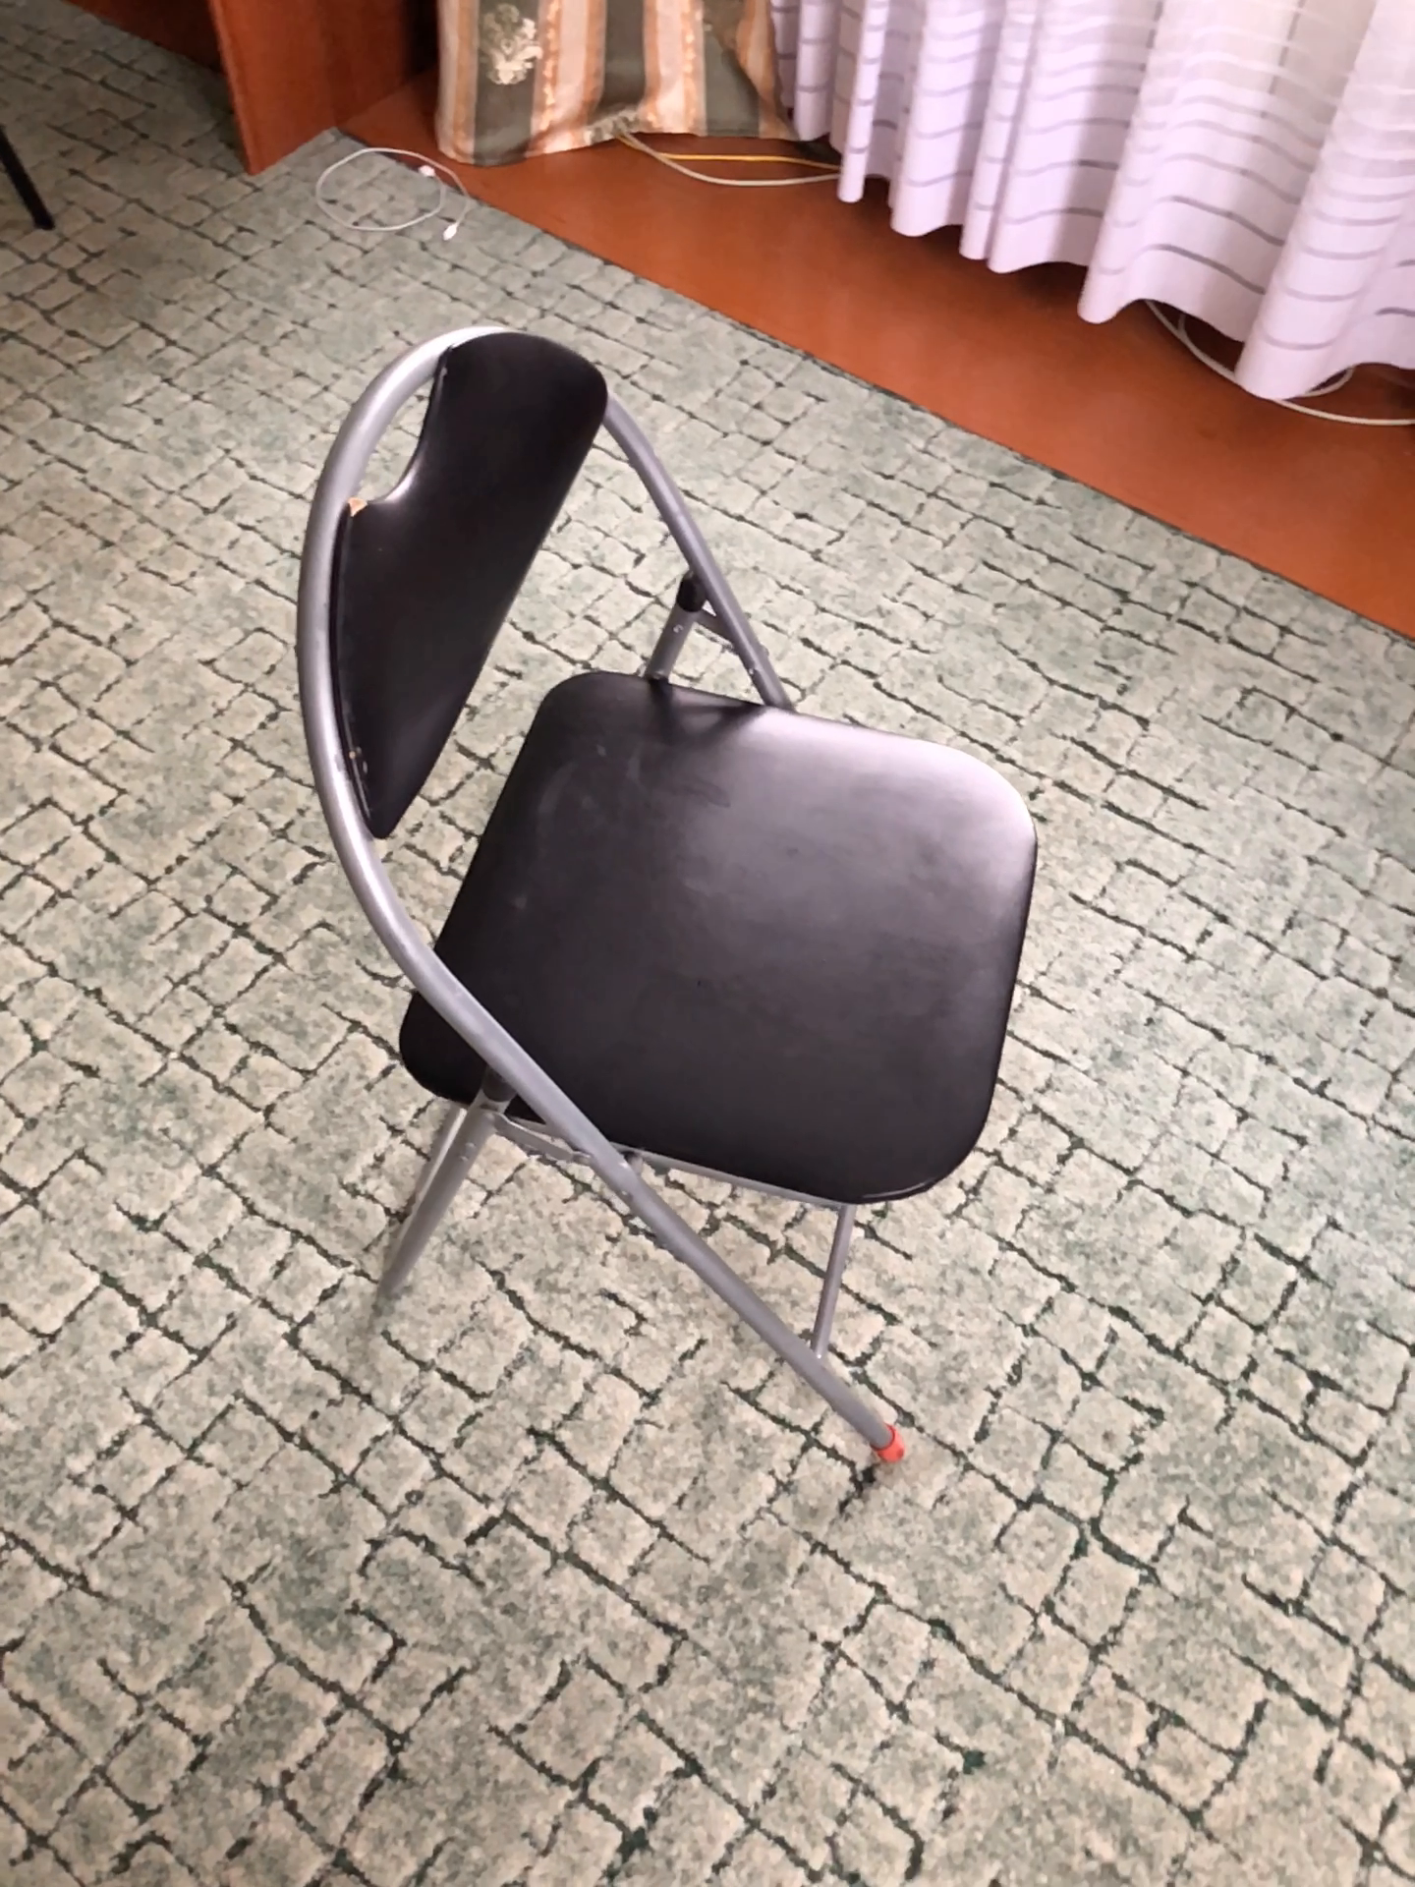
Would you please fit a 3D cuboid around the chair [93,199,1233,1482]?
[{"bbox_3d":[0.001,-0.009,1.087,0.474,0.733,0.458,13,56,6],"label":"chair"}]
